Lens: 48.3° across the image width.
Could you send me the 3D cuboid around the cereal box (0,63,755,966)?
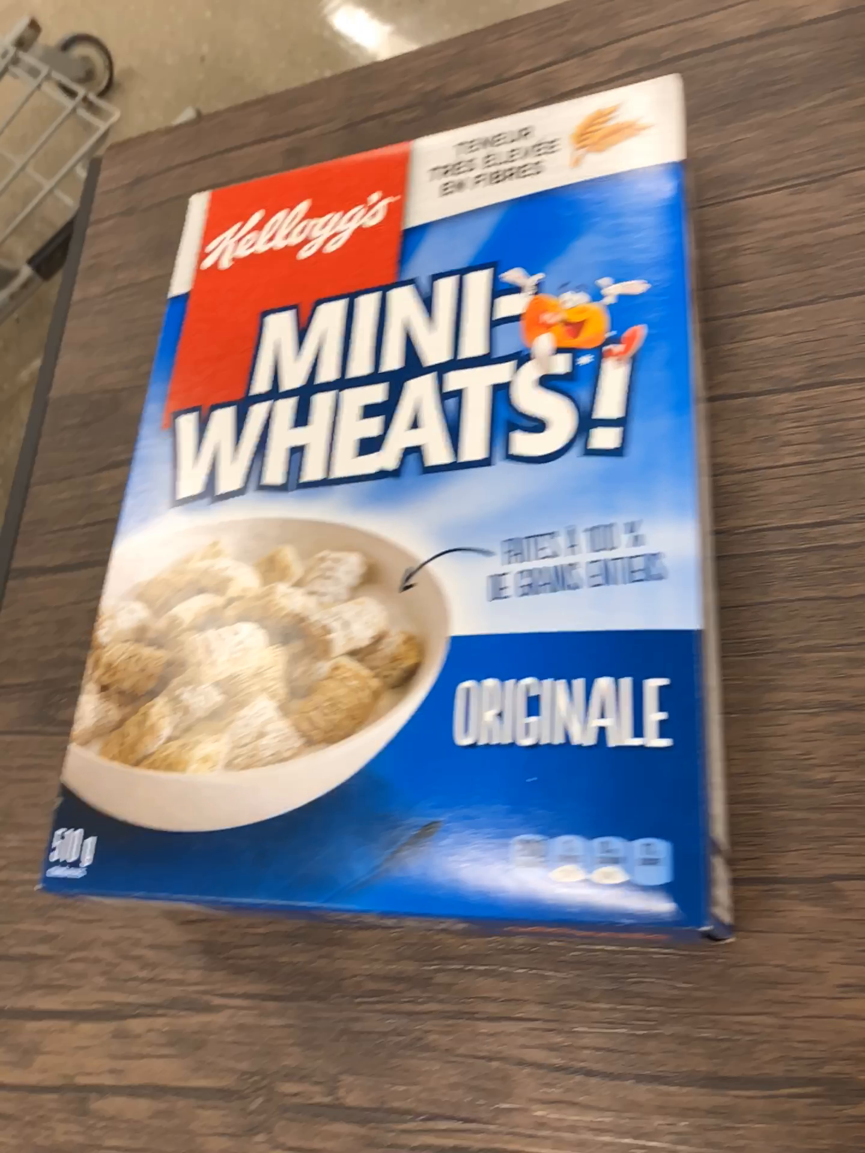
[{"bbox_3d":[-0.021,-0.025,0.325,0.231,0.060,0.270,-4,64,21],"label":"cereal box"}]
